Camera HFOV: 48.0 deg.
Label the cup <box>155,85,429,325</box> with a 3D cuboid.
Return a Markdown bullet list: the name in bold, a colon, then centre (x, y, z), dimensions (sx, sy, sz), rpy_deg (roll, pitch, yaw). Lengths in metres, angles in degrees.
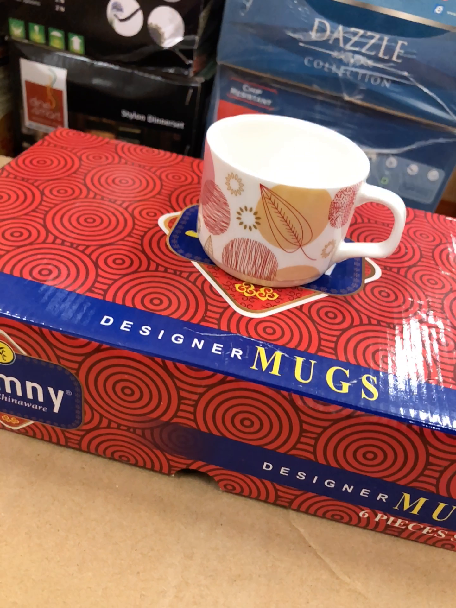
- **cup**: centre (0.027, -0.045, 0.212), dimensions (0.090, 0.050, 0.071), rpy_deg (18, 39, 7)
